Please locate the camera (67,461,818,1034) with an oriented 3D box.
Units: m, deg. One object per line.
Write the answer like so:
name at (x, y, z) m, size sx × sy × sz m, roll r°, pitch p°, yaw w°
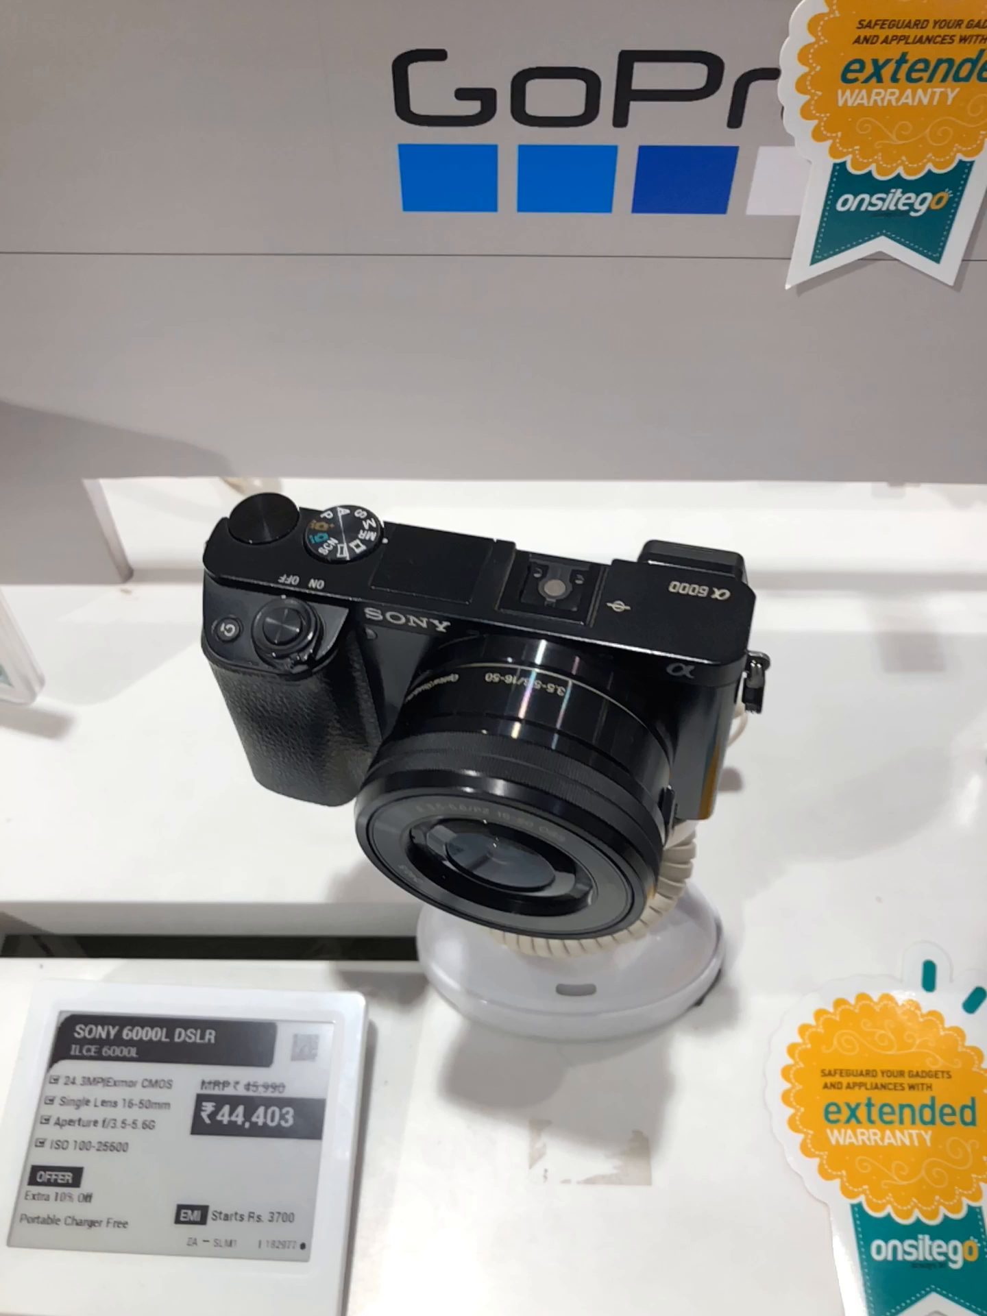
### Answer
camera at (-0.005, 0.017, 0.205) m, size 0.110 × 0.070 × 0.060 m, roll 10°, pitch 53°, yaw 8°
